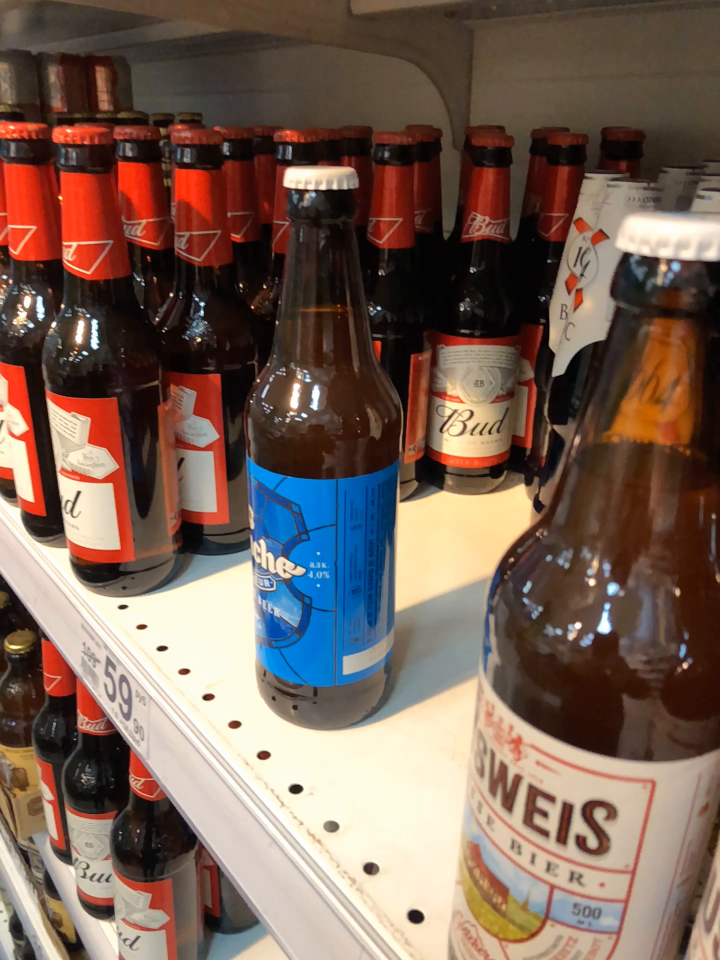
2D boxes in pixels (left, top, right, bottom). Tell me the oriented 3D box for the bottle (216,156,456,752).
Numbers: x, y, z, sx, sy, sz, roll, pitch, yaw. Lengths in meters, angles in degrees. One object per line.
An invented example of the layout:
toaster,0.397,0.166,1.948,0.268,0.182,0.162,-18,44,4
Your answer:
bottle,-0.013,-0.010,0.349,0.069,0.244,0.070,1,23,0
